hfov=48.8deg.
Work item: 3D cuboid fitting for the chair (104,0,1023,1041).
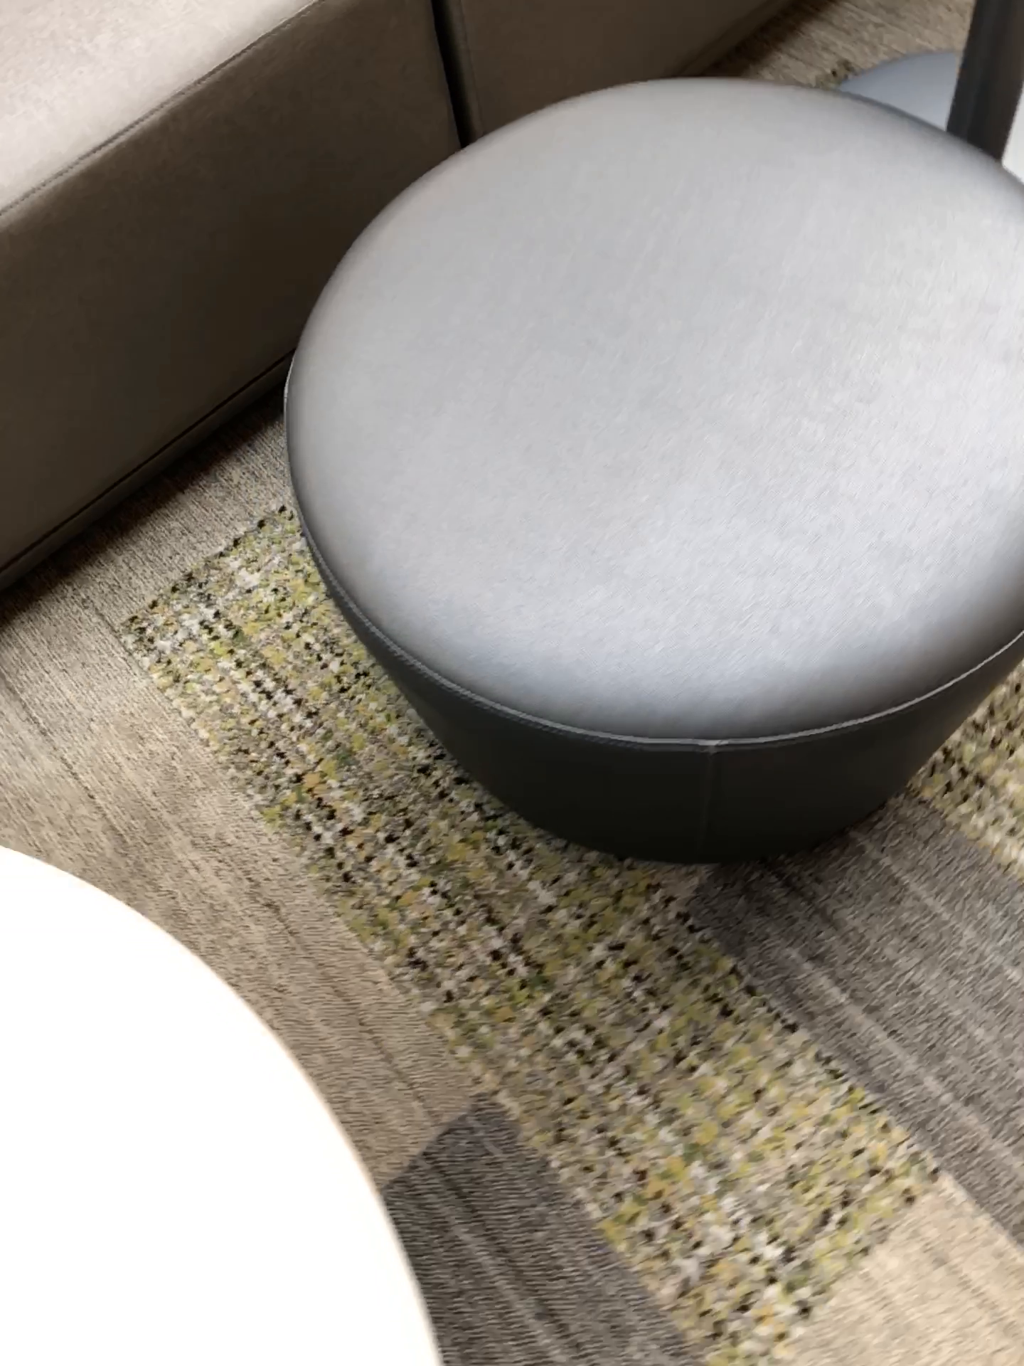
[{"bbox_3d":[0.152,-0.166,0.952,0.620,0.459,0.571,-37,64,-10],"label":"chair"}]
